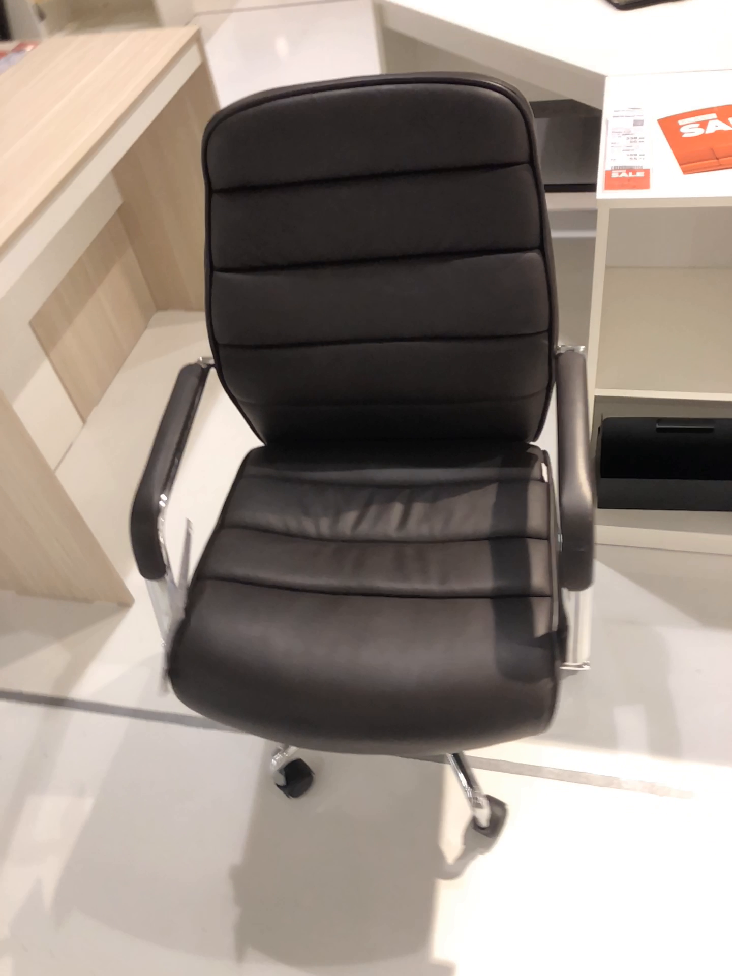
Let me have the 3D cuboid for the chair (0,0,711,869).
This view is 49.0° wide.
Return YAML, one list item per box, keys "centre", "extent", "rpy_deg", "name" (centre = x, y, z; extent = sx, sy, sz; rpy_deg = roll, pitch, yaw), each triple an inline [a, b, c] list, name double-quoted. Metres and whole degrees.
- centre: [-0.001, 0.014, 1.079]
  extent: [0.650, 0.973, 0.574]
  rpy_deg: [1, 48, 12]
  name: "chair"
